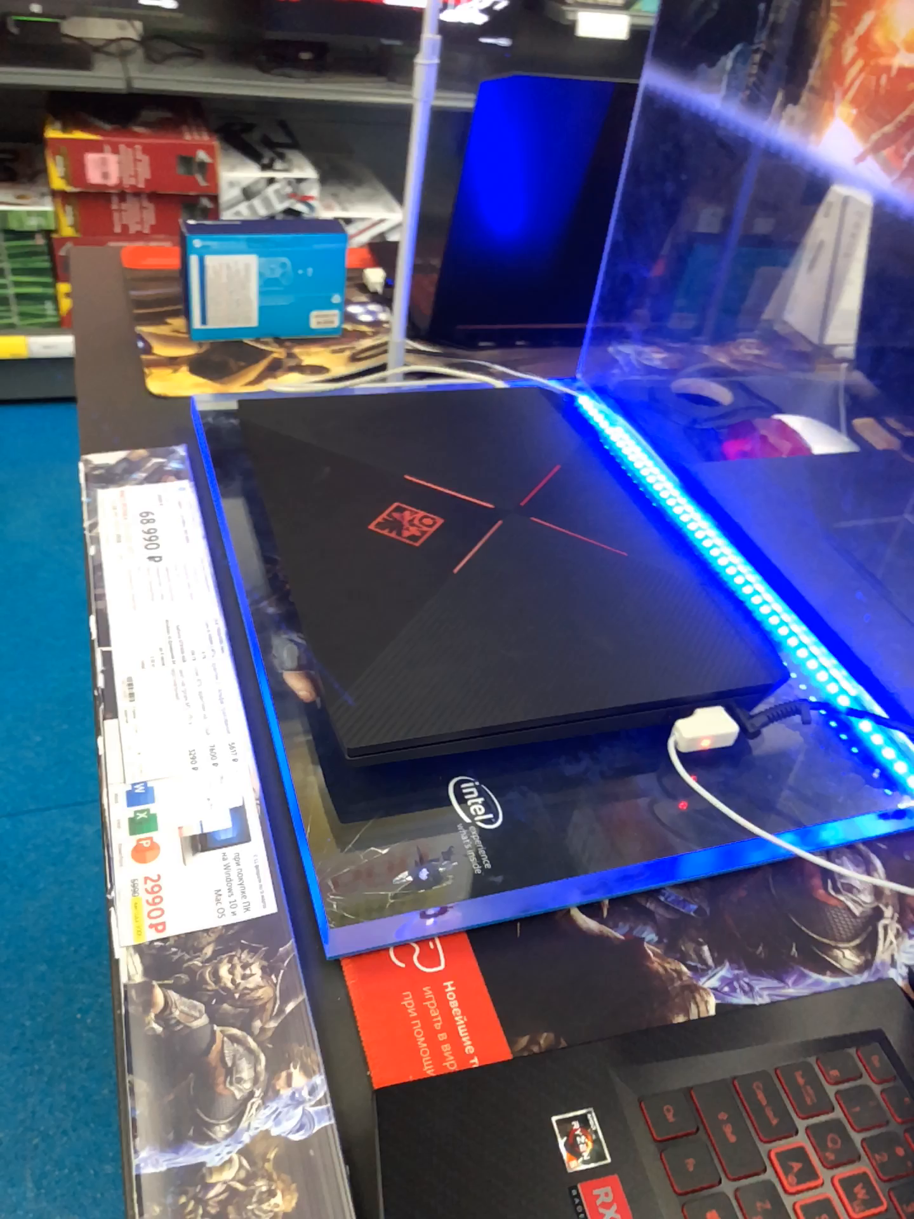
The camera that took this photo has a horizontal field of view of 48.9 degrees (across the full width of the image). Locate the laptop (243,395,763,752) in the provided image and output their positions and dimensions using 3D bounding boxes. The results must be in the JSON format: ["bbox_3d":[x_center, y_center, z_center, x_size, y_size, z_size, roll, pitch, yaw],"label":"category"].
[{"bbox_3d":[0.004,-0.052,0.636,0.237,0.003,0.351,-6,38,-17],"label":"laptop"}]
